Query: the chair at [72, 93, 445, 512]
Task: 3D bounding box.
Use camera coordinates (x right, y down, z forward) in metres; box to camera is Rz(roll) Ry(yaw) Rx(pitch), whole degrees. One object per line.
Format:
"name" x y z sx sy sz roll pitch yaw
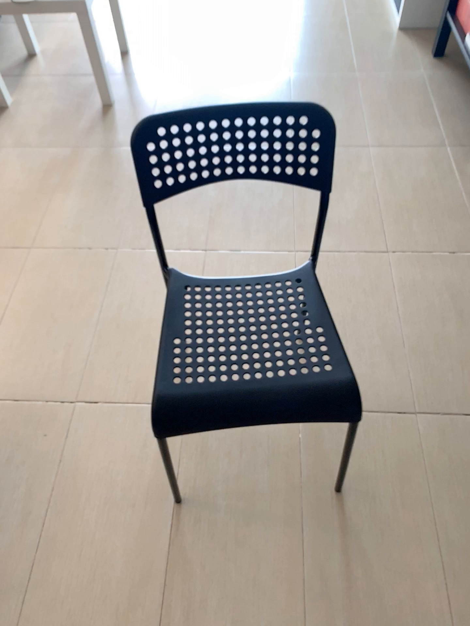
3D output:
"chair" 0.024 0.035 0.967 0.420 0.687 0.492 -4 54 0
